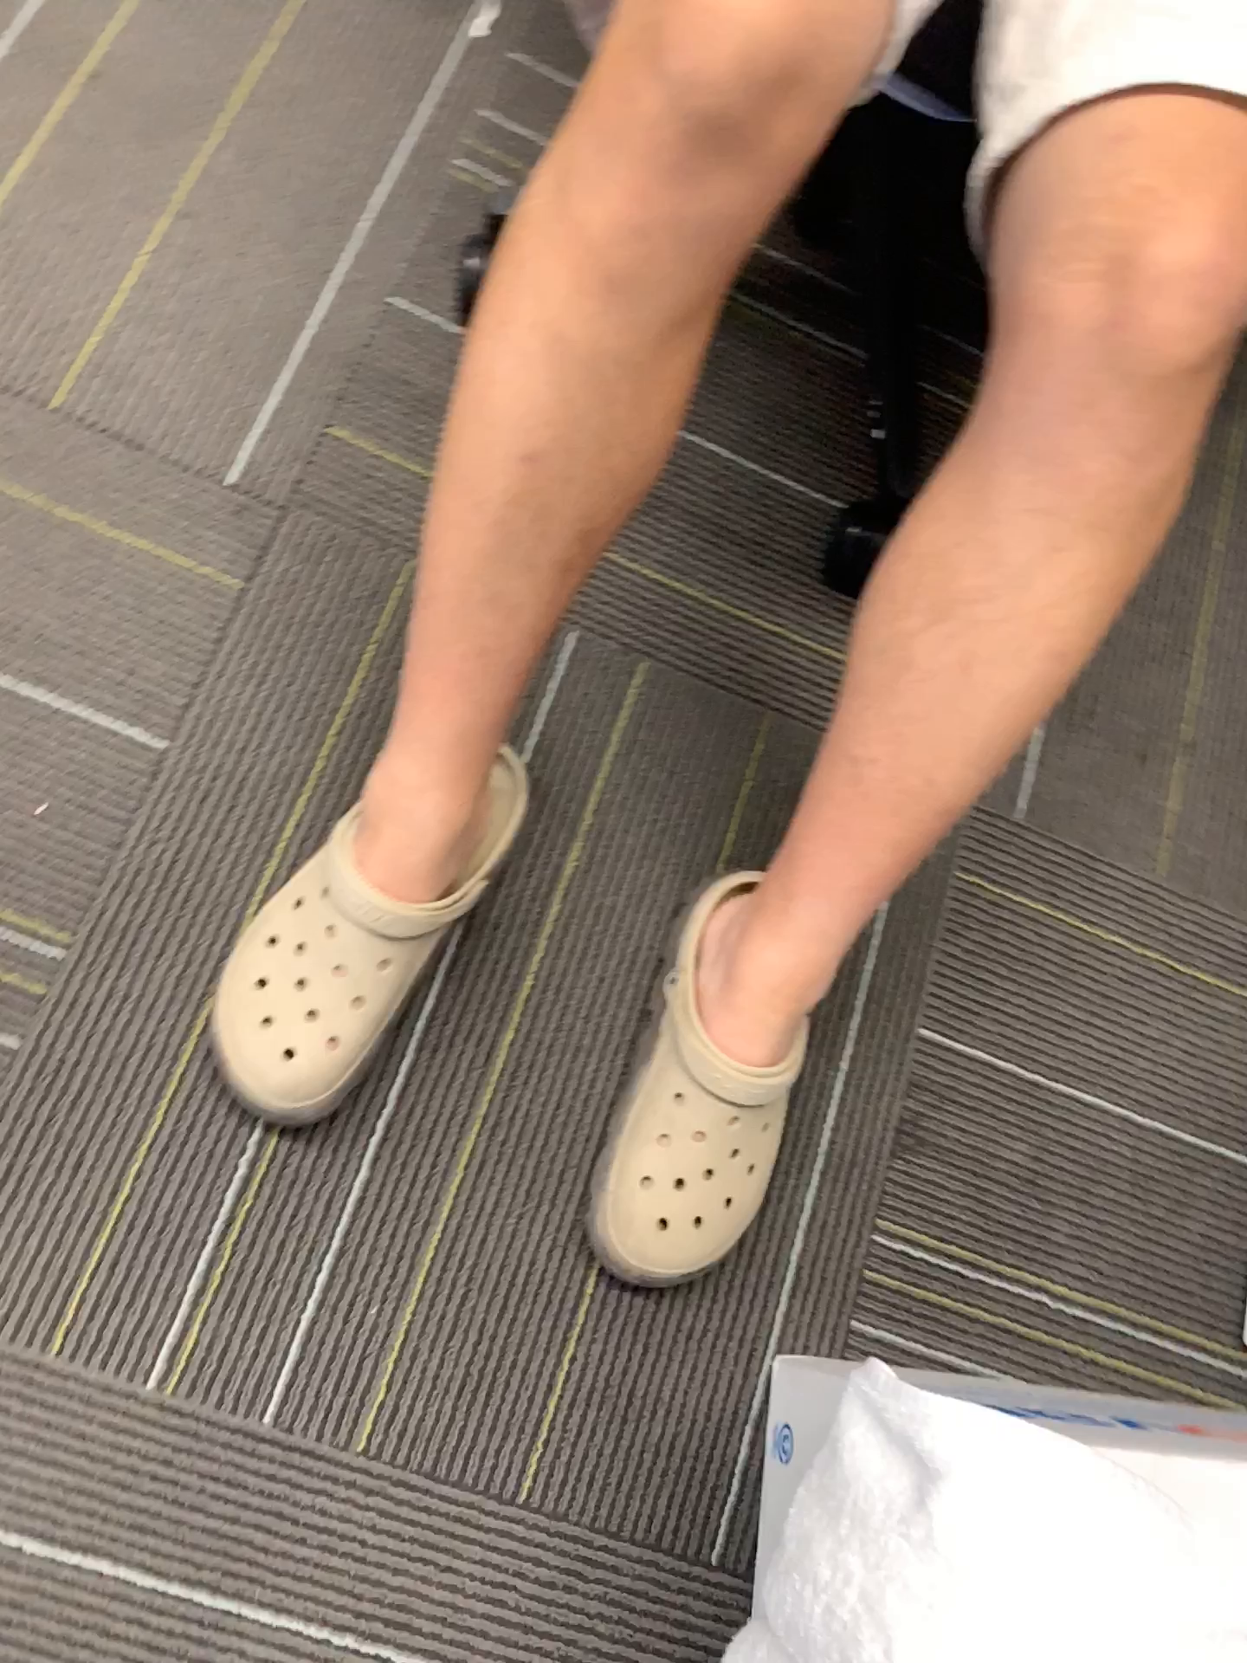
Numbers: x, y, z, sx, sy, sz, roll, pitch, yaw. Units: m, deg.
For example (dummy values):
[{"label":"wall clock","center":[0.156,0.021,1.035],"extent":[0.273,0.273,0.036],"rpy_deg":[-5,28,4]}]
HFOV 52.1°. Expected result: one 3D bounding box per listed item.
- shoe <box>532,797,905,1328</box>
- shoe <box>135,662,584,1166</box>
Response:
[{"label":"shoe","center":[0.072,0.158,0.909],"extent":[0.140,0.080,0.330],"rpy_deg":[26,69,-6]},{"label":"shoe","center":[-0.175,0.054,0.886],"extent":[0.134,0.080,0.321],"rpy_deg":[34,69,-3]}]
